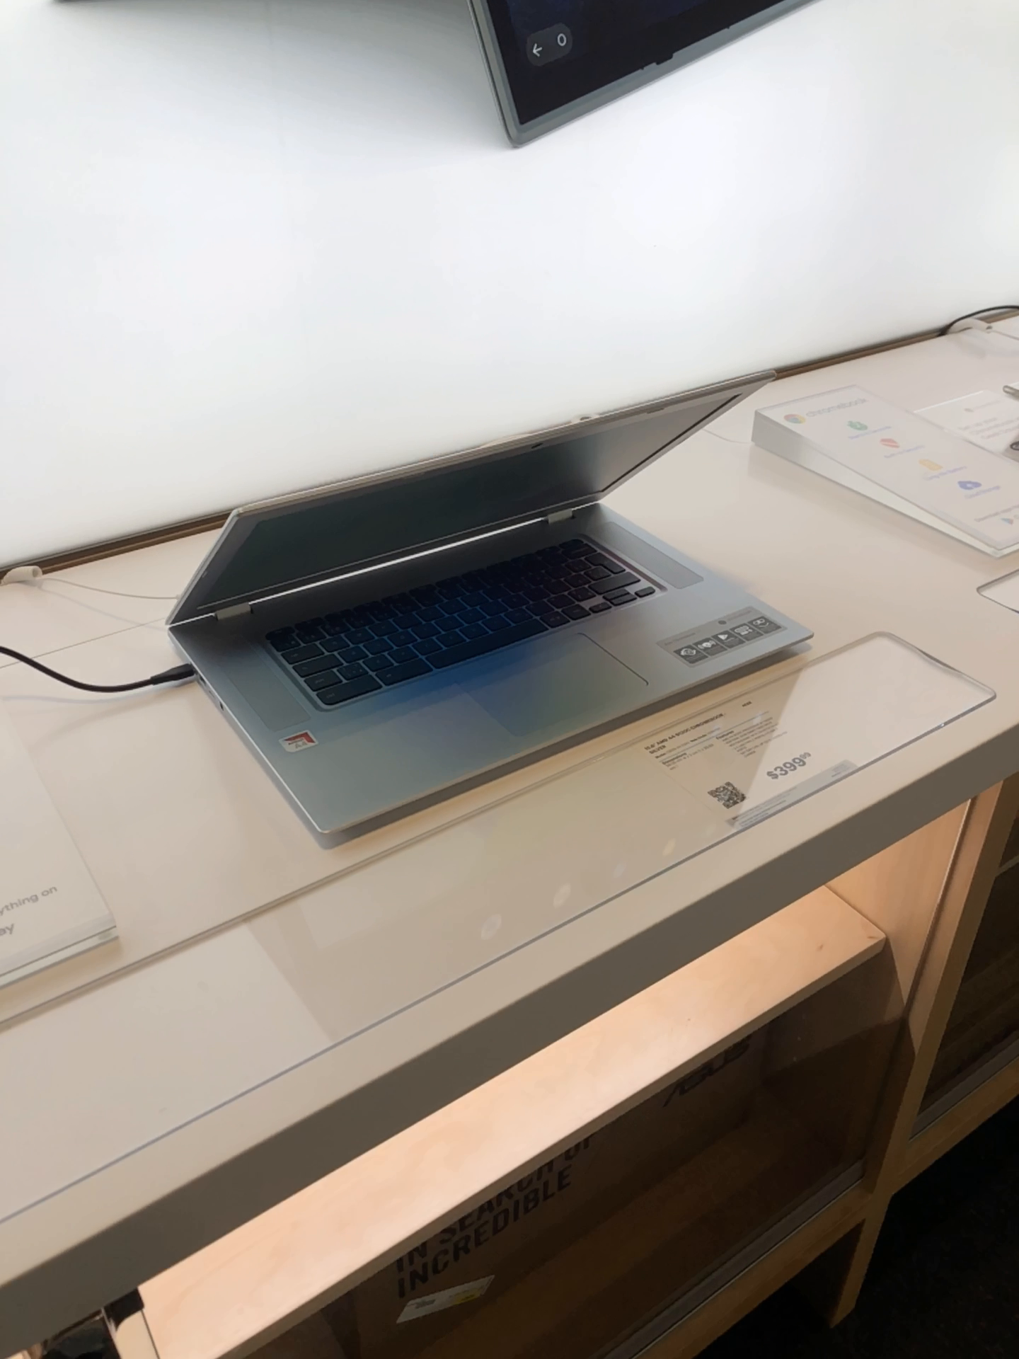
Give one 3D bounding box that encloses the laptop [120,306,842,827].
[{"bbox_3d":[-0.021,-0.104,0.736,0.368,0.166,0.255,-20,38,-27],"label":"laptop"}]
